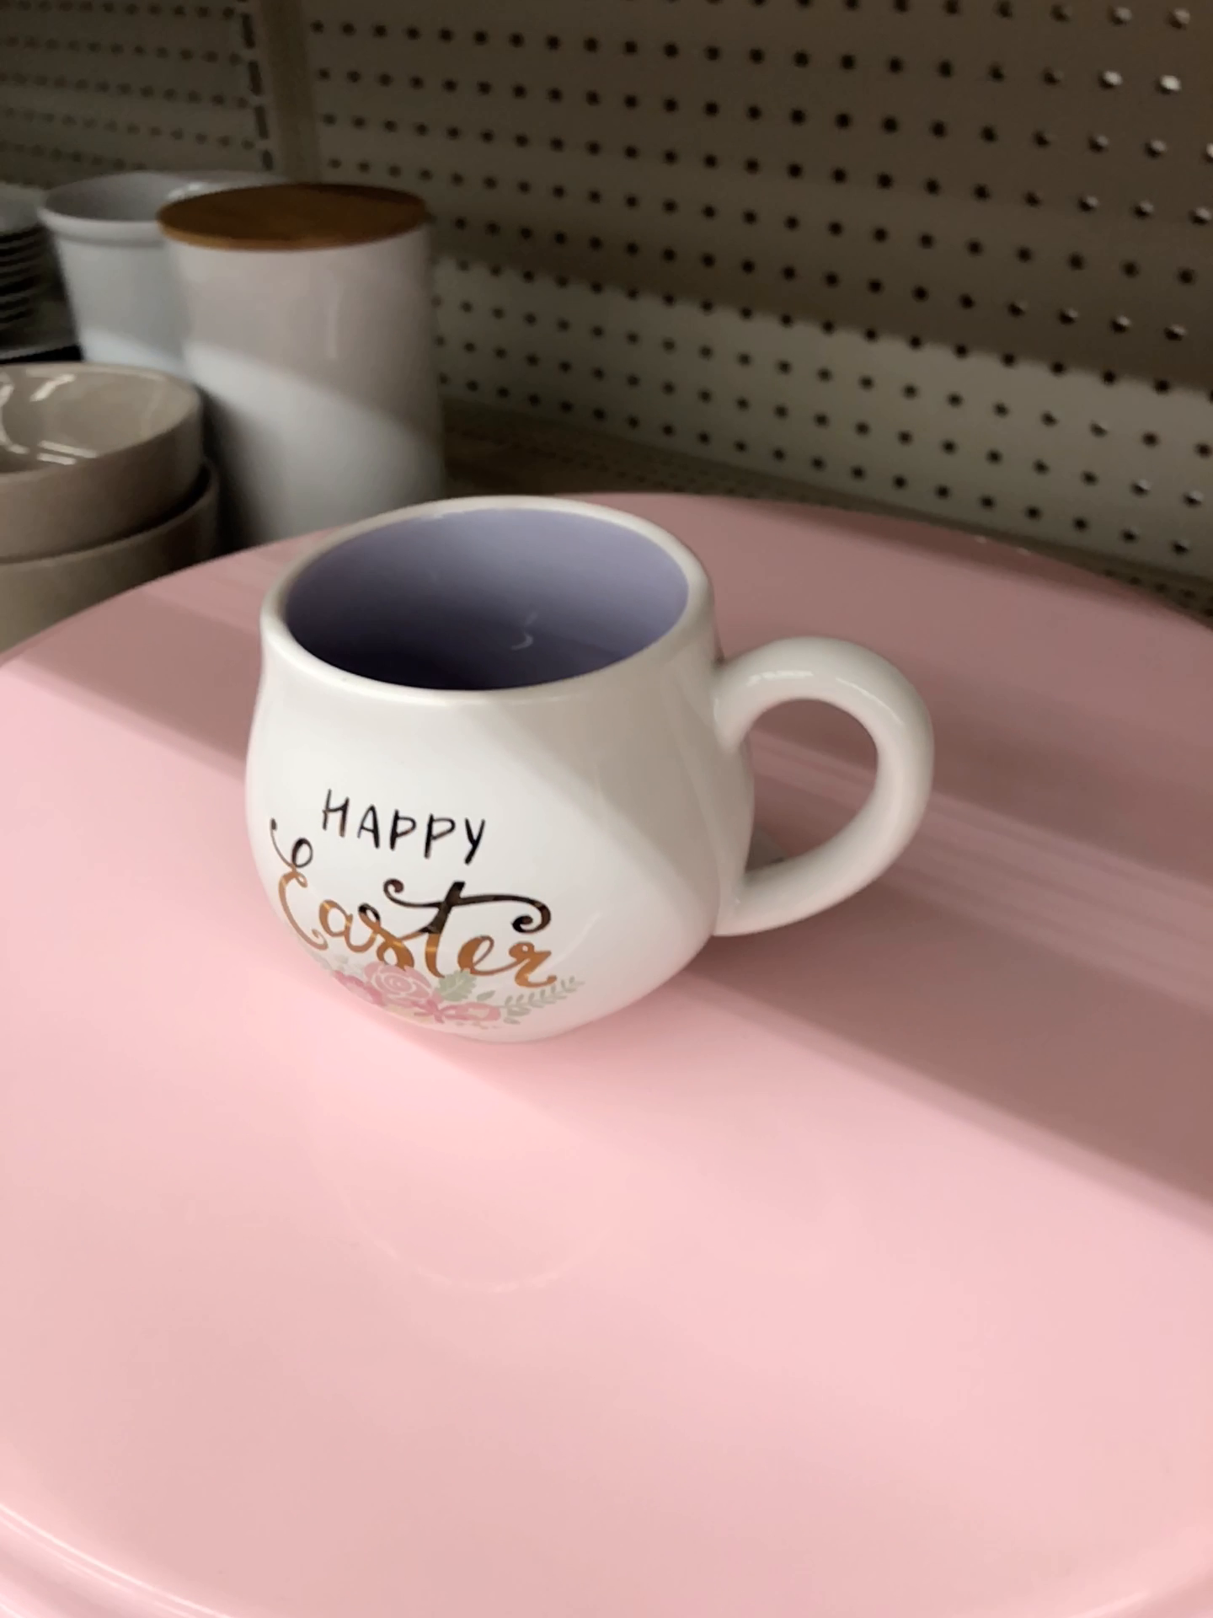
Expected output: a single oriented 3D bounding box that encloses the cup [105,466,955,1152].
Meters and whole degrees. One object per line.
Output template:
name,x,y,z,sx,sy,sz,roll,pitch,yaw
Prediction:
cup,-0.006,-0.007,0.266,0.130,0.080,0.090,8,37,13
